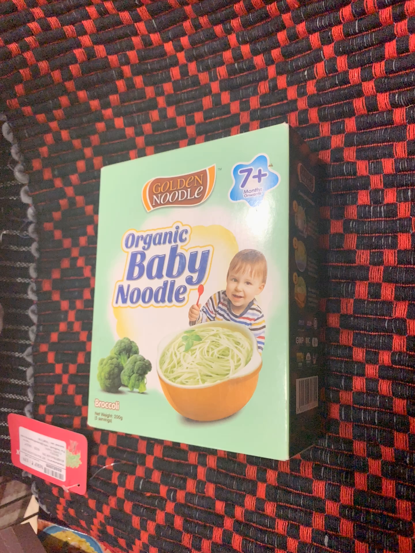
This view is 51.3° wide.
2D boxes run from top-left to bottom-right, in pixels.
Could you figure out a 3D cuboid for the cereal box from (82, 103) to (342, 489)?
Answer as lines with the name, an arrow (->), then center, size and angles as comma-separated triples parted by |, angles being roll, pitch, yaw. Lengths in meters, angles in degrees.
cereal box -> 0.002, 0.010, 0.248 | 0.131, 0.060, 0.170 | -3, 81, 30
